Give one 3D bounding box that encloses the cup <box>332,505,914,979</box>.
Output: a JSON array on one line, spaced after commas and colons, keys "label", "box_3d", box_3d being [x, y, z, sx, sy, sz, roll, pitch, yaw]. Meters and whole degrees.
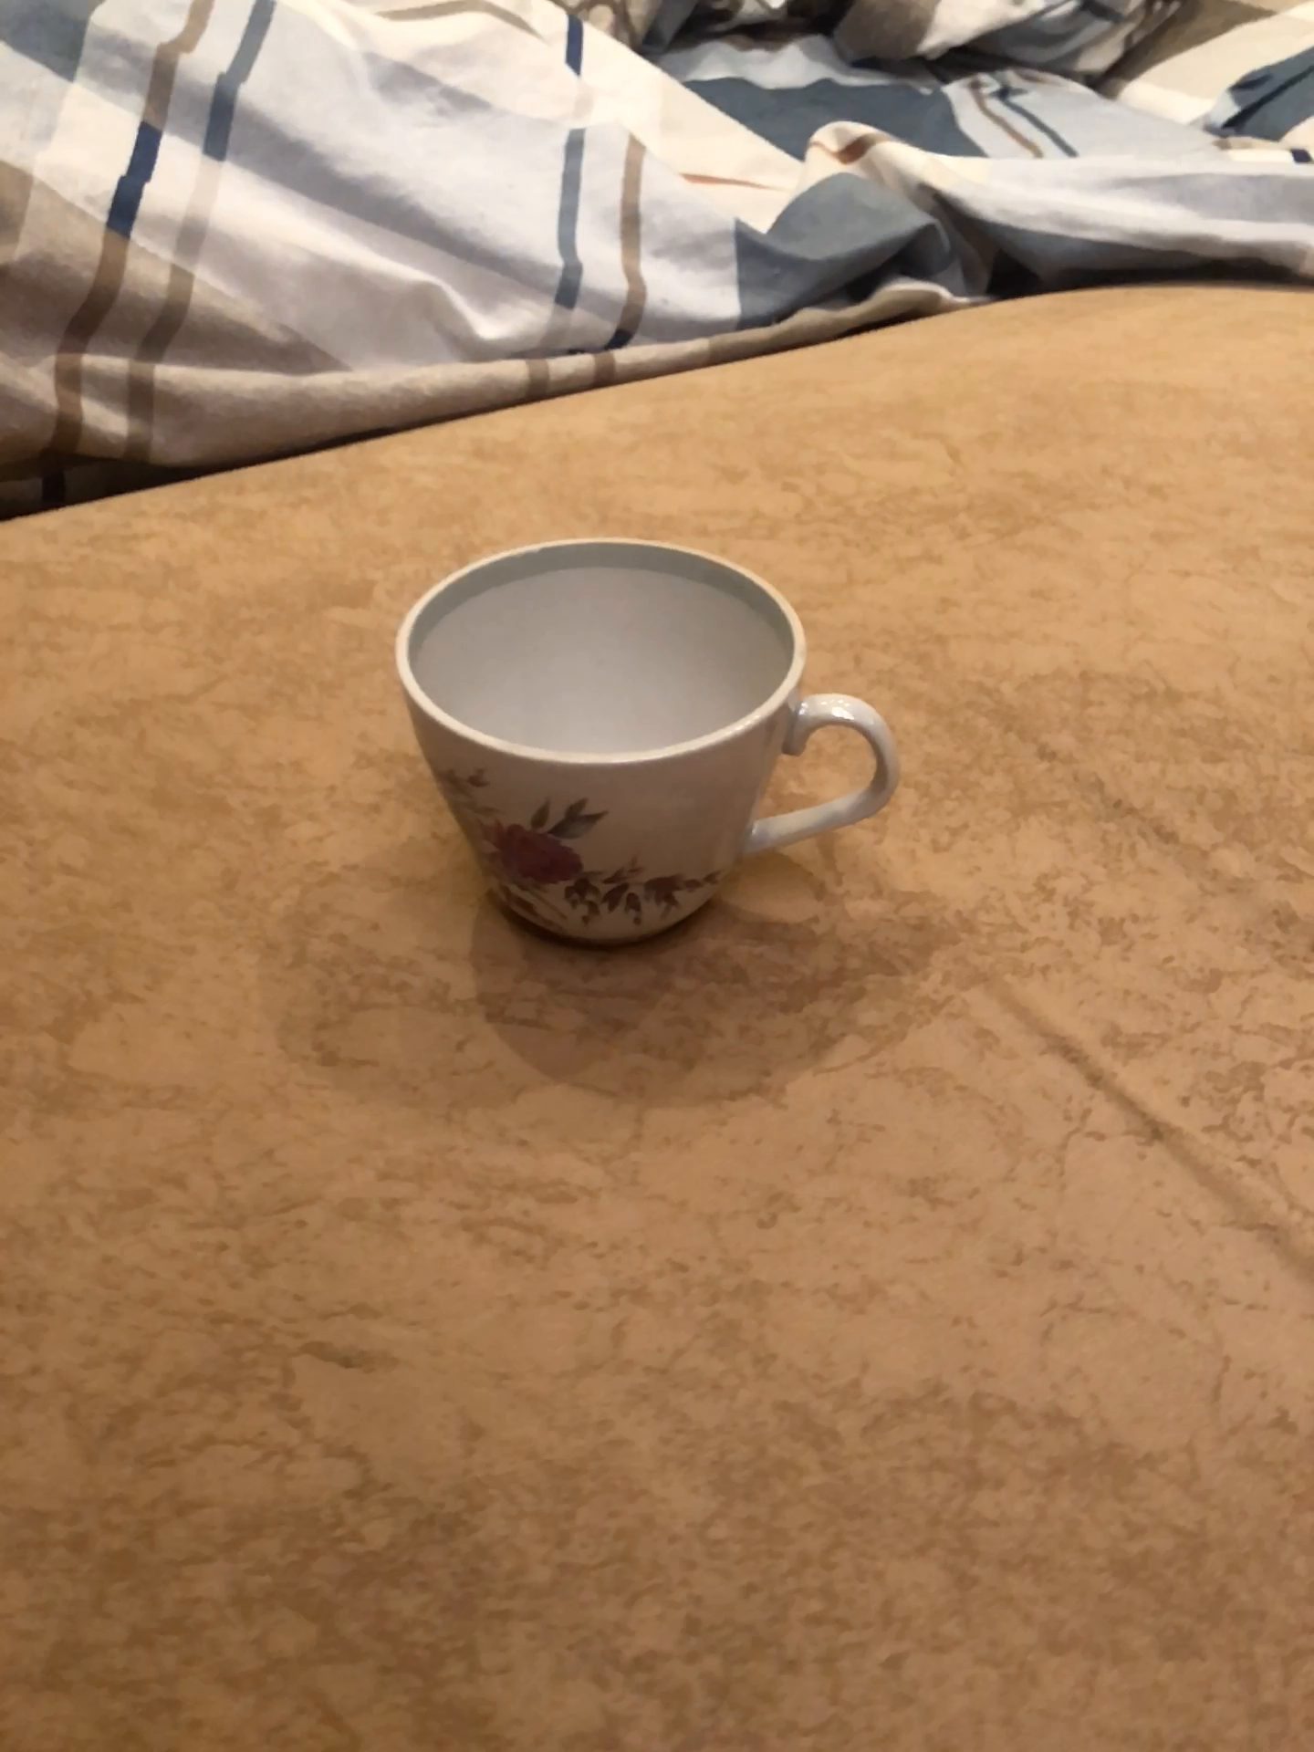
[{"label": "cup", "box_3d": [-0.004, -0.033, 0.328, 0.110, 0.060, 0.090, 3, 41, 3]}]
